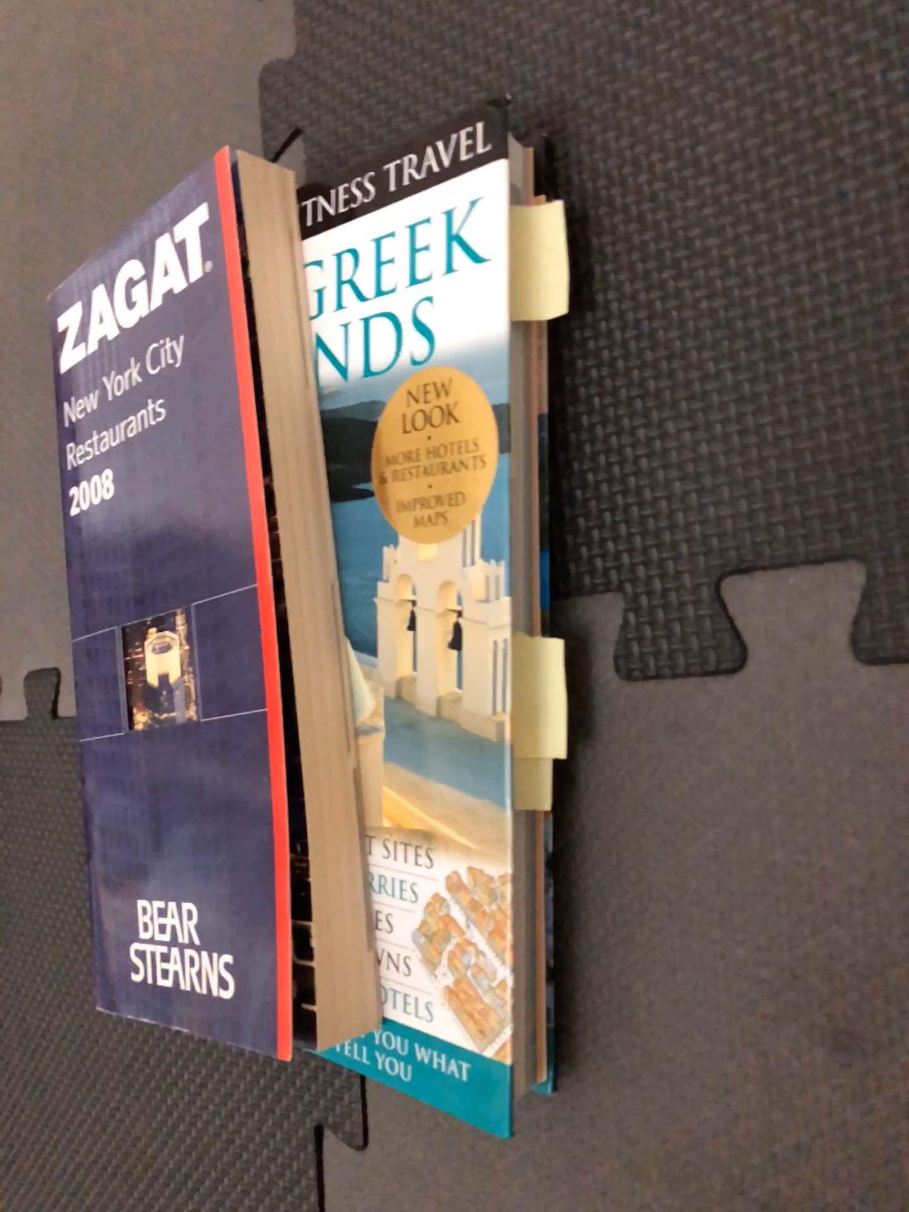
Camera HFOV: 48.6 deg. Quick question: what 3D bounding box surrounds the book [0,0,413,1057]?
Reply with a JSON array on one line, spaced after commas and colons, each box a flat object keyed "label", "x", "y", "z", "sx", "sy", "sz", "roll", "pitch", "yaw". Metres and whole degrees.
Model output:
[{"label": "book", "x": -0.078, "y": -0.028, "z": 0.266, "sx": 0.151, "sy": 0.020, "sz": 0.250, "roll": -8, "pitch": 84, "yaw": 43}]

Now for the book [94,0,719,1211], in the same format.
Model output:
[{"label": "book", "x": -0.027, "y": -0.019, "z": 0.243, "sx": 0.171, "sy": 0.030, "sz": 0.260, "roll": 4, "pitch": 92, "yaw": 43}]
